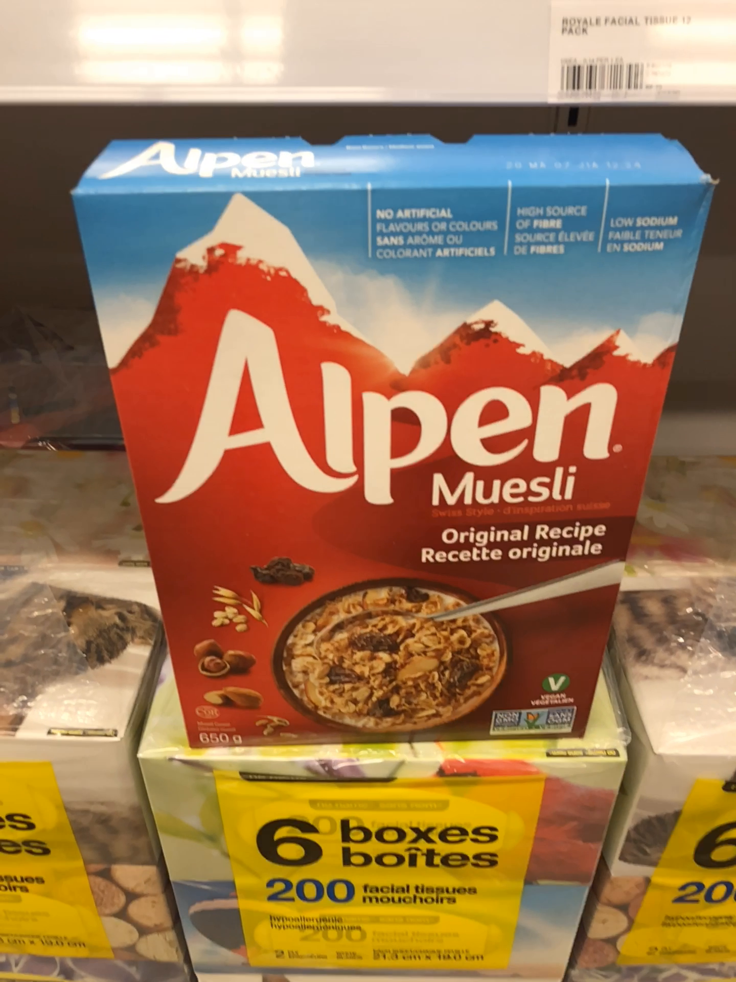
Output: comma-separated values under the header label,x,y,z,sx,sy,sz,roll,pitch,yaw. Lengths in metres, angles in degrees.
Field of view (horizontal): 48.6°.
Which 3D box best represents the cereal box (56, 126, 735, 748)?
label,x,y,z,sx,sy,sz,roll,pitch,yaw
cereal box,0.011,-0.002,0.294,0.180,0.229,0.050,-1,36,-2
